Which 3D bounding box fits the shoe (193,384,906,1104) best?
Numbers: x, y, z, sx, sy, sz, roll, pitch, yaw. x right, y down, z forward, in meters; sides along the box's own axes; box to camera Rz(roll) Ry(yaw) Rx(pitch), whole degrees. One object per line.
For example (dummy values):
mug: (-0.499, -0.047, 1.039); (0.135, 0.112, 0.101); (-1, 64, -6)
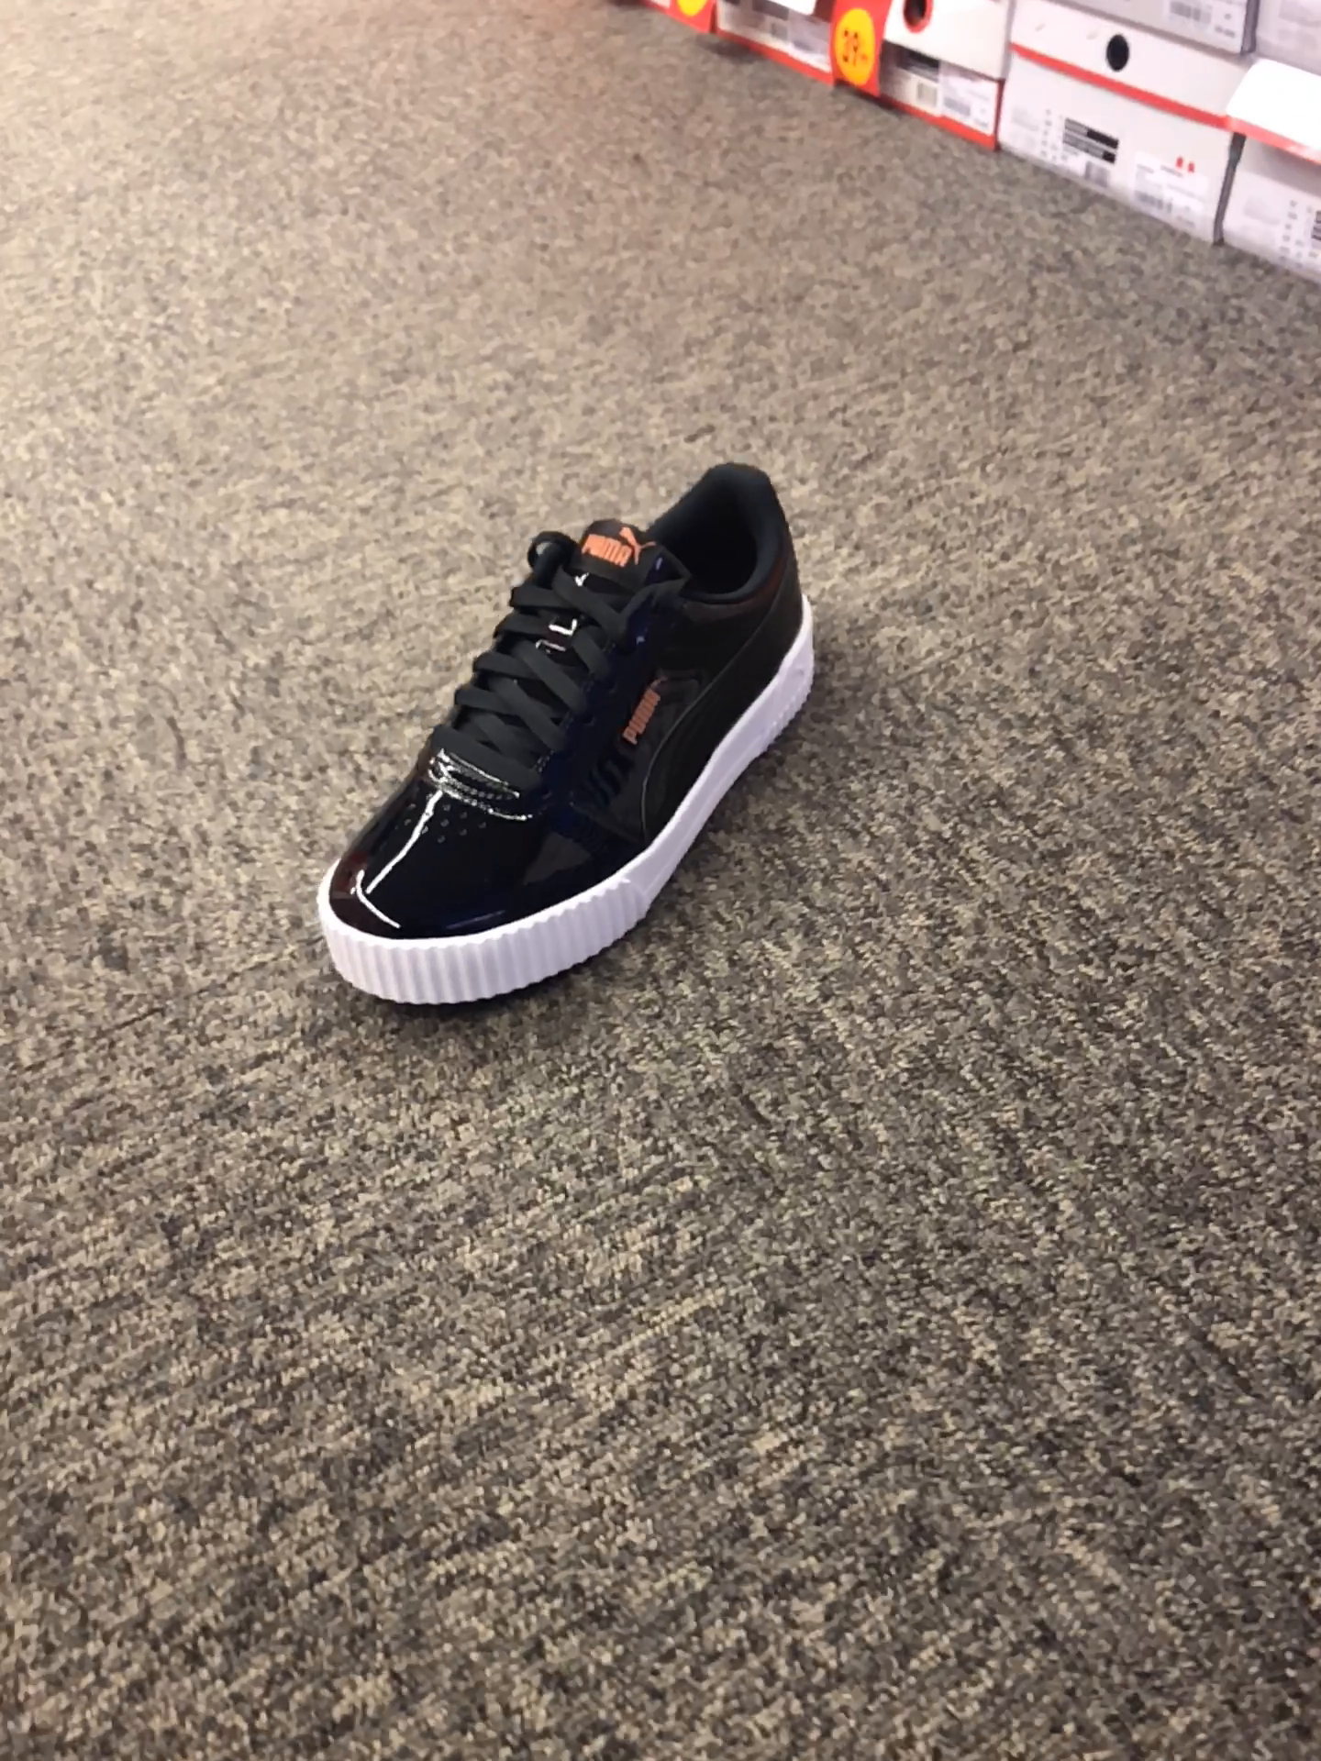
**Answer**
shoe: (-0.022, -0.062, 0.526); (0.100, 0.099, 0.261); (25, 55, 27)
